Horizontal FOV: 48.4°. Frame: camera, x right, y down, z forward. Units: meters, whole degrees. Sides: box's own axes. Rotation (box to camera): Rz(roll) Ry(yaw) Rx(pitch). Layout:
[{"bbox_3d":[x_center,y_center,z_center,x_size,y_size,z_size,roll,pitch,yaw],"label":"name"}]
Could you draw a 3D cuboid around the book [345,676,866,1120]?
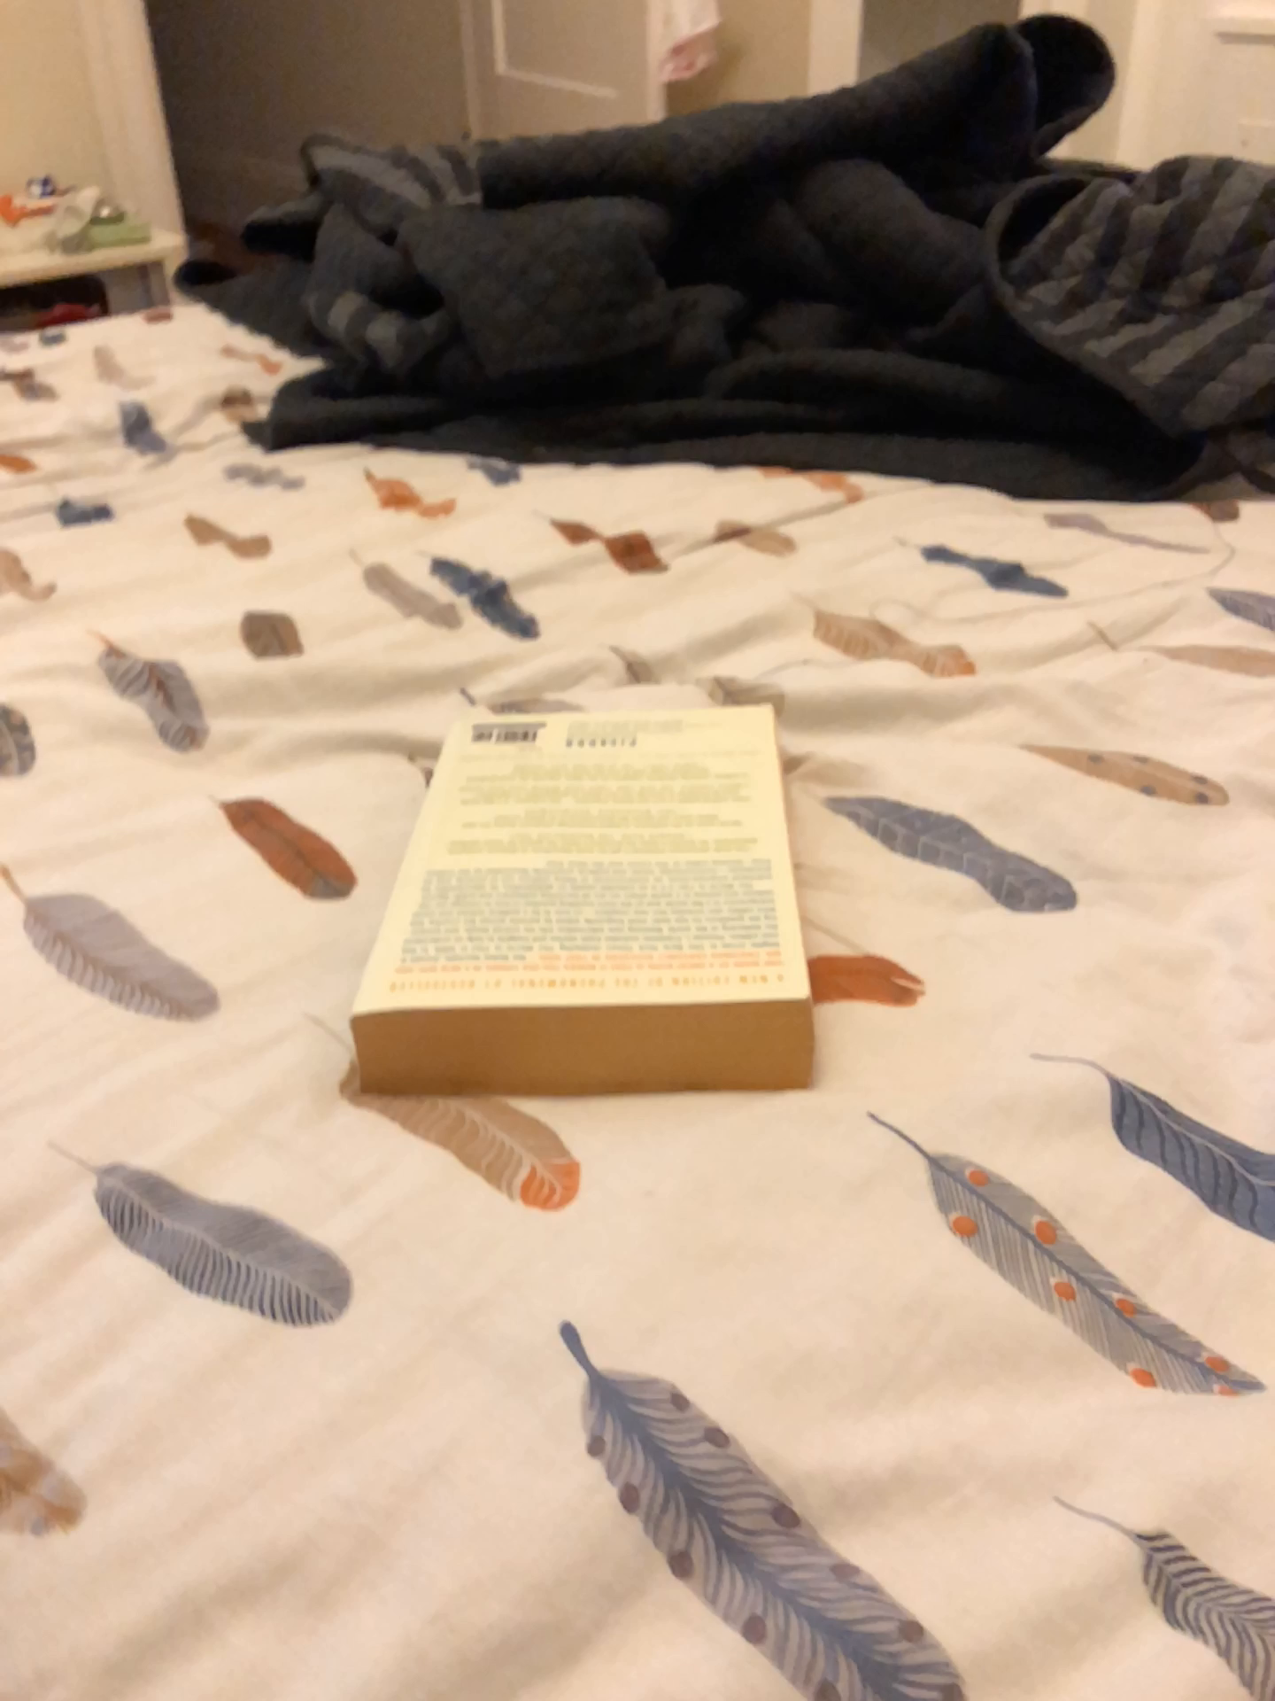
[{"bbox_3d":[-0.011,0.005,0.512,0.150,0.040,0.221,1,32,-1],"label":"book"}]
